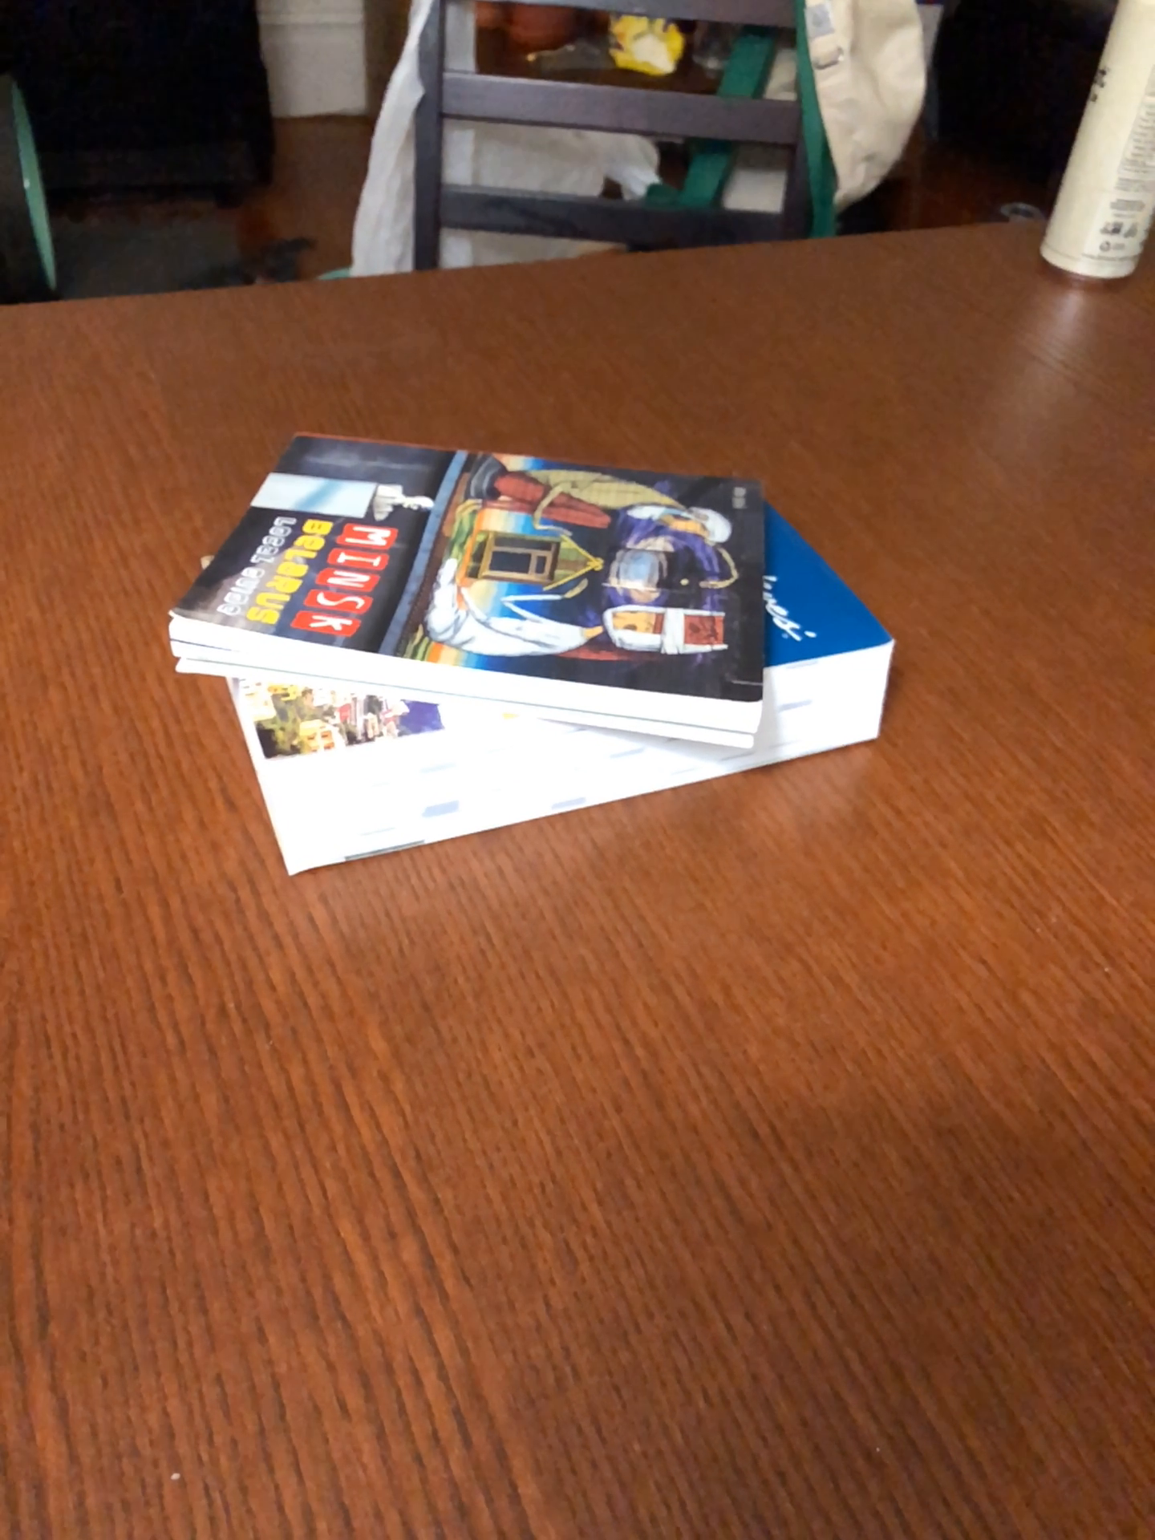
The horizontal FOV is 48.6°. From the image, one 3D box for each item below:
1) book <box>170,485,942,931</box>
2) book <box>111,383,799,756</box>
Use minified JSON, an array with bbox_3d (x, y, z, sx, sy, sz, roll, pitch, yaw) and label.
[{"bbox_3d":[-0.012,-0.032,0.429,0.220,0.040,0.131,-11,45,-18],"label":"book"},{"bbox_3d":[-0.028,-0.072,0.413,0.190,0.020,0.151,7,42,1],"label":"book"}]
